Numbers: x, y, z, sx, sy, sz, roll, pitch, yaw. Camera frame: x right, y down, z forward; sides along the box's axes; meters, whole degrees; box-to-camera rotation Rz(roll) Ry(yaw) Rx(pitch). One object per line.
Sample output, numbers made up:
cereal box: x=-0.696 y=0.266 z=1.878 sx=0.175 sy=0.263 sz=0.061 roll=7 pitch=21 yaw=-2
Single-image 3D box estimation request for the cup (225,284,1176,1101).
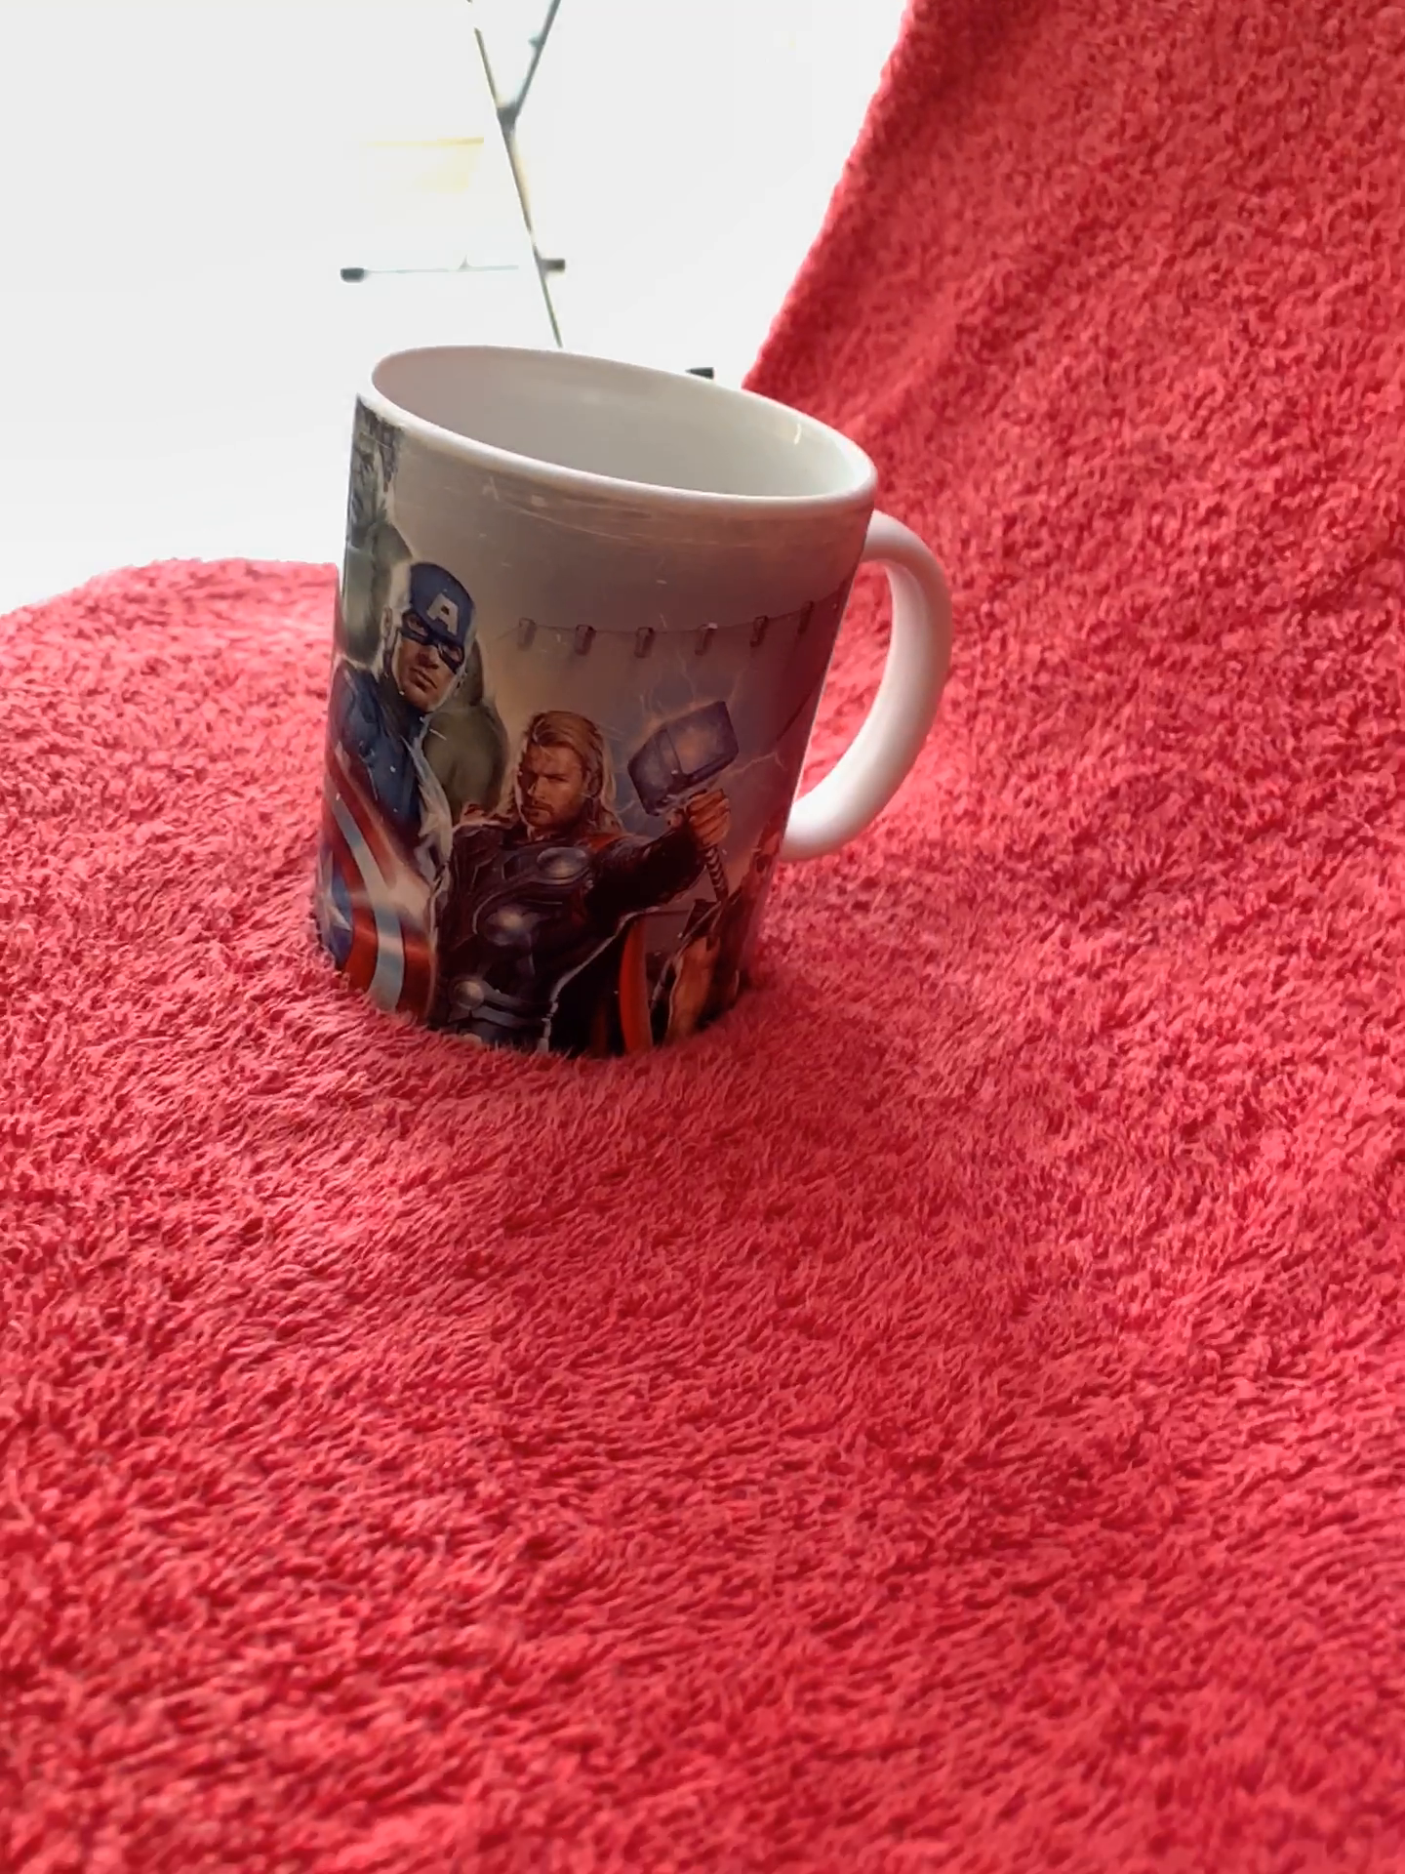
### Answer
cup: x=-0.010 y=-0.046 z=0.250 sx=0.120 sy=0.089 sz=0.091 roll=-8 pitch=41 yaw=-27
